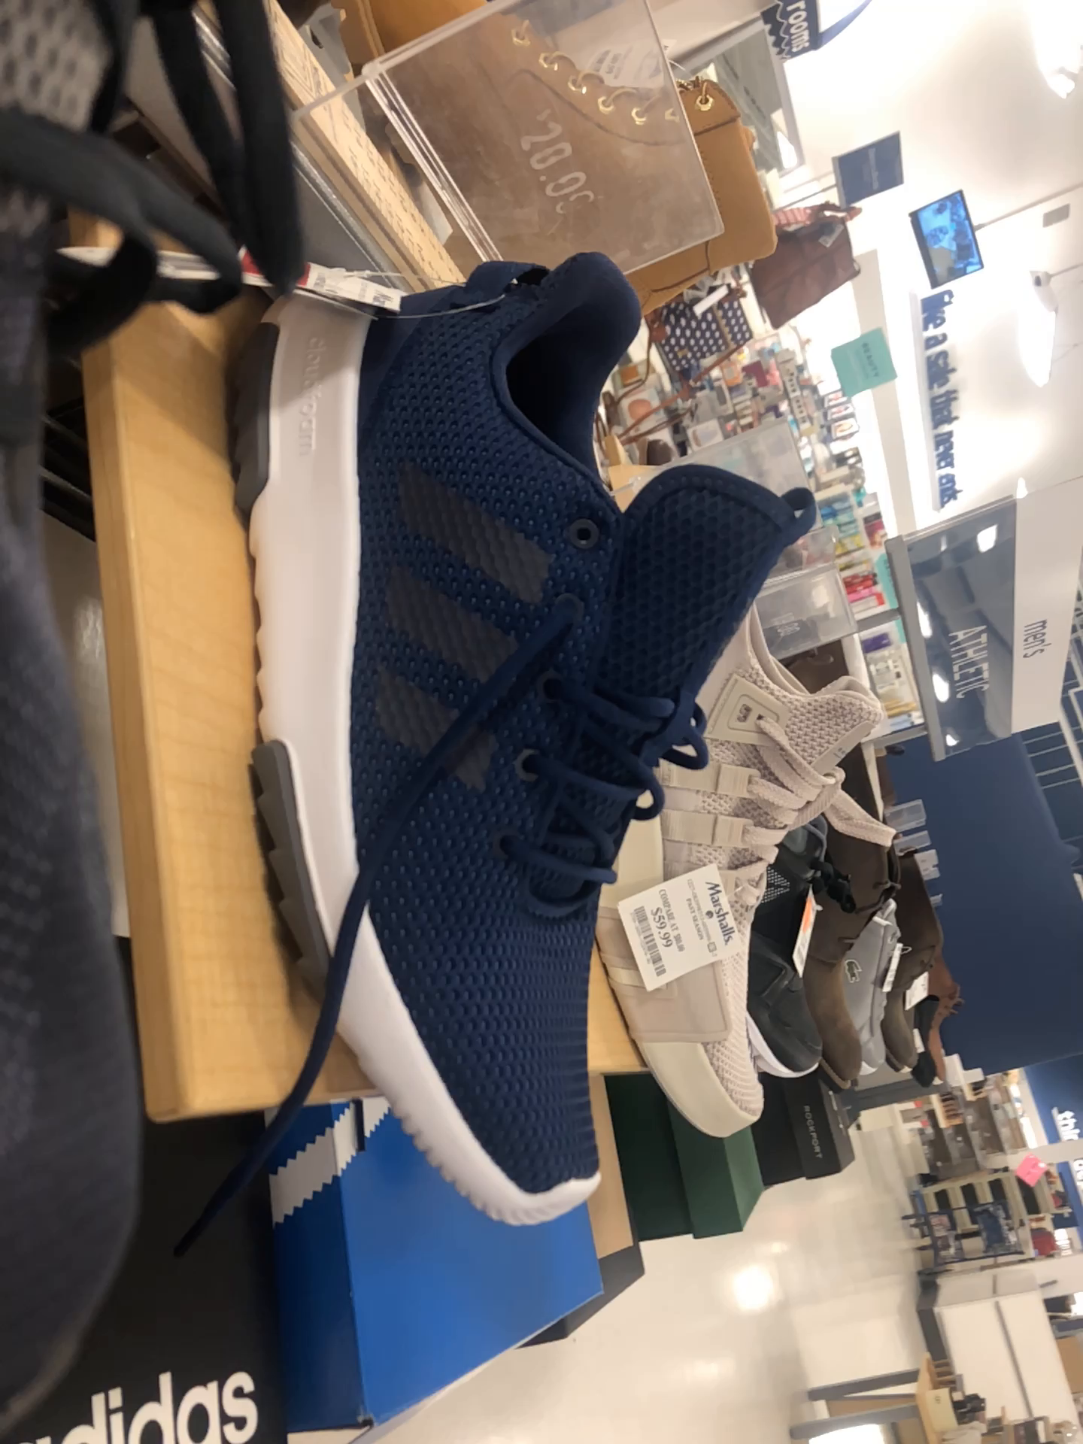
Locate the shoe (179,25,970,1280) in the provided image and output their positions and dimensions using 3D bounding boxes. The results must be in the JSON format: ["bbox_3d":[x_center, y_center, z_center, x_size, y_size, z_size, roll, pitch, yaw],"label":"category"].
[{"bbox_3d":[0.004,-0.021,0.355,0.112,0.145,0.304,37,38,-65],"label":"shoe"}]
